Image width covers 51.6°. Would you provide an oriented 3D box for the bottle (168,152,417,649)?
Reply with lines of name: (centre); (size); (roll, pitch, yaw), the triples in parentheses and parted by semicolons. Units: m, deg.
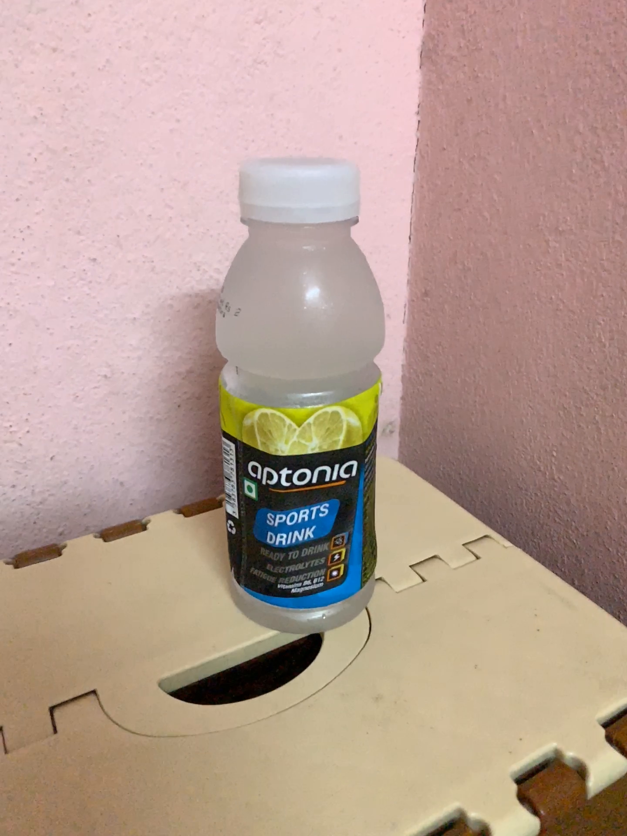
bottle: (-0.006, -0.003, 0.248); (0.070, 0.179, 0.060); (-1, 25, -2)
